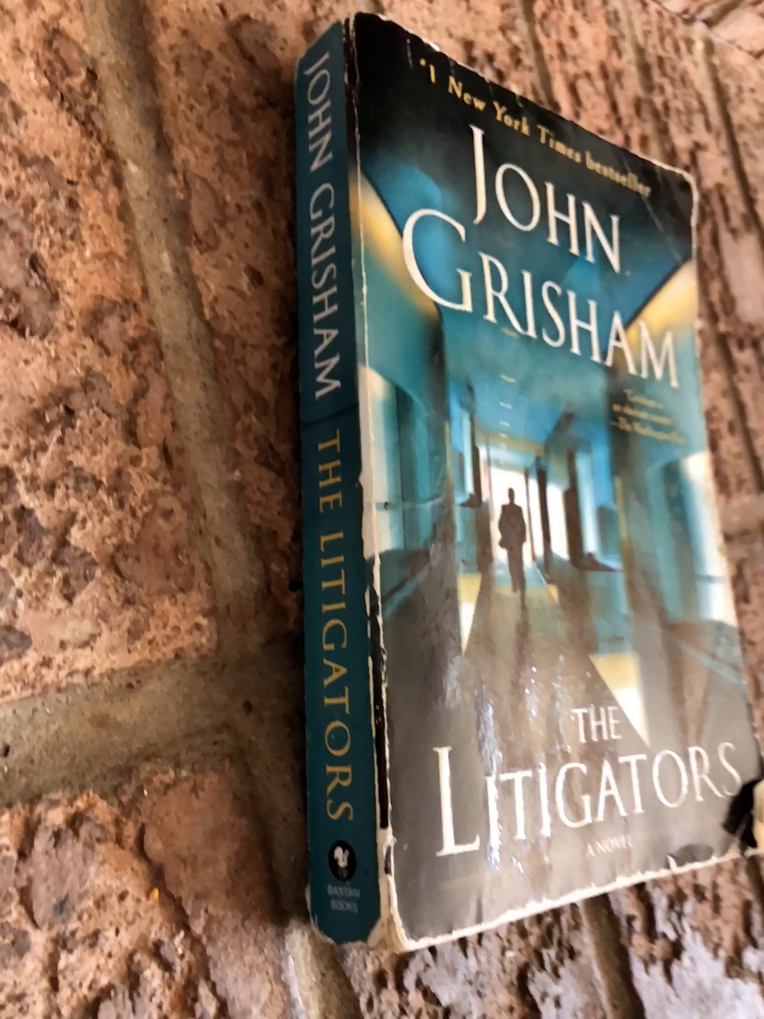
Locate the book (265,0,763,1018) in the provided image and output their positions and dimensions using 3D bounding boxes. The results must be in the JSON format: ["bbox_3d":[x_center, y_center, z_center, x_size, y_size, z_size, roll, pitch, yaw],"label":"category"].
[{"bbox_3d":[0.039,-0.003,0.212,0.136,0.033,0.199,9,74,-38],"label":"book"}]
